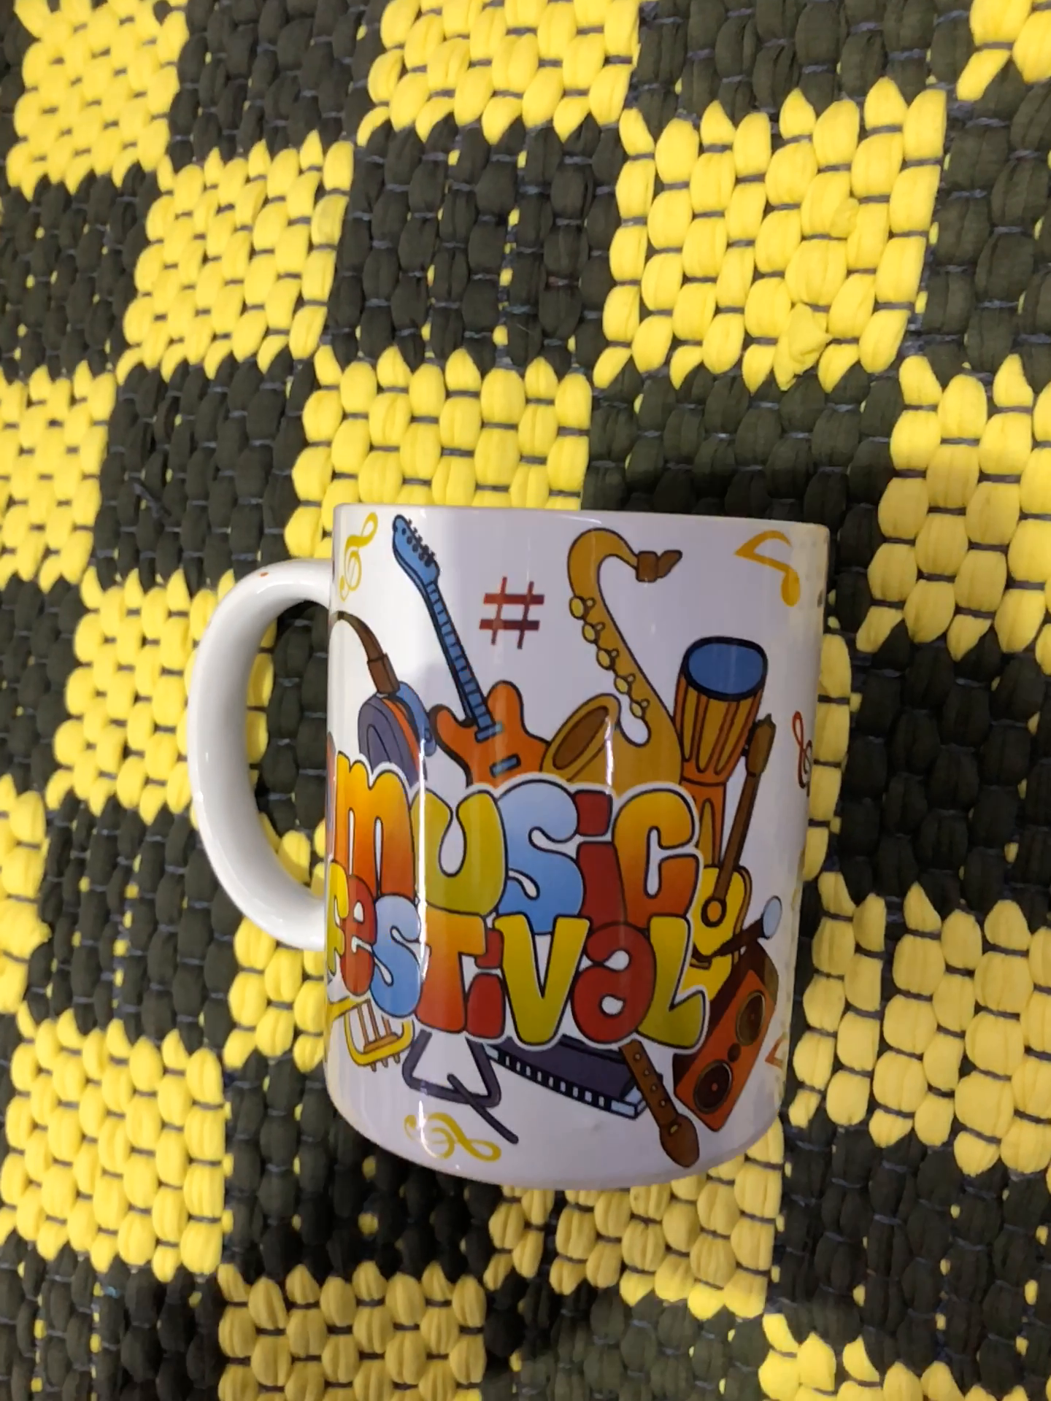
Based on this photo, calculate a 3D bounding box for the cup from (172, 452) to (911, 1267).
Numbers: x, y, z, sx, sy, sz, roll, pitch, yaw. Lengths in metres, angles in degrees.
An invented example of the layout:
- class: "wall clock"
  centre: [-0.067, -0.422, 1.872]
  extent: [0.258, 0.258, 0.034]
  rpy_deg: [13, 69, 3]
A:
- class: "cup"
  centre: [-0.002, 0.013, 0.200]
  extent: [0.100, 0.070, 0.100]
  rpy_deg: [4, 96, 44]
